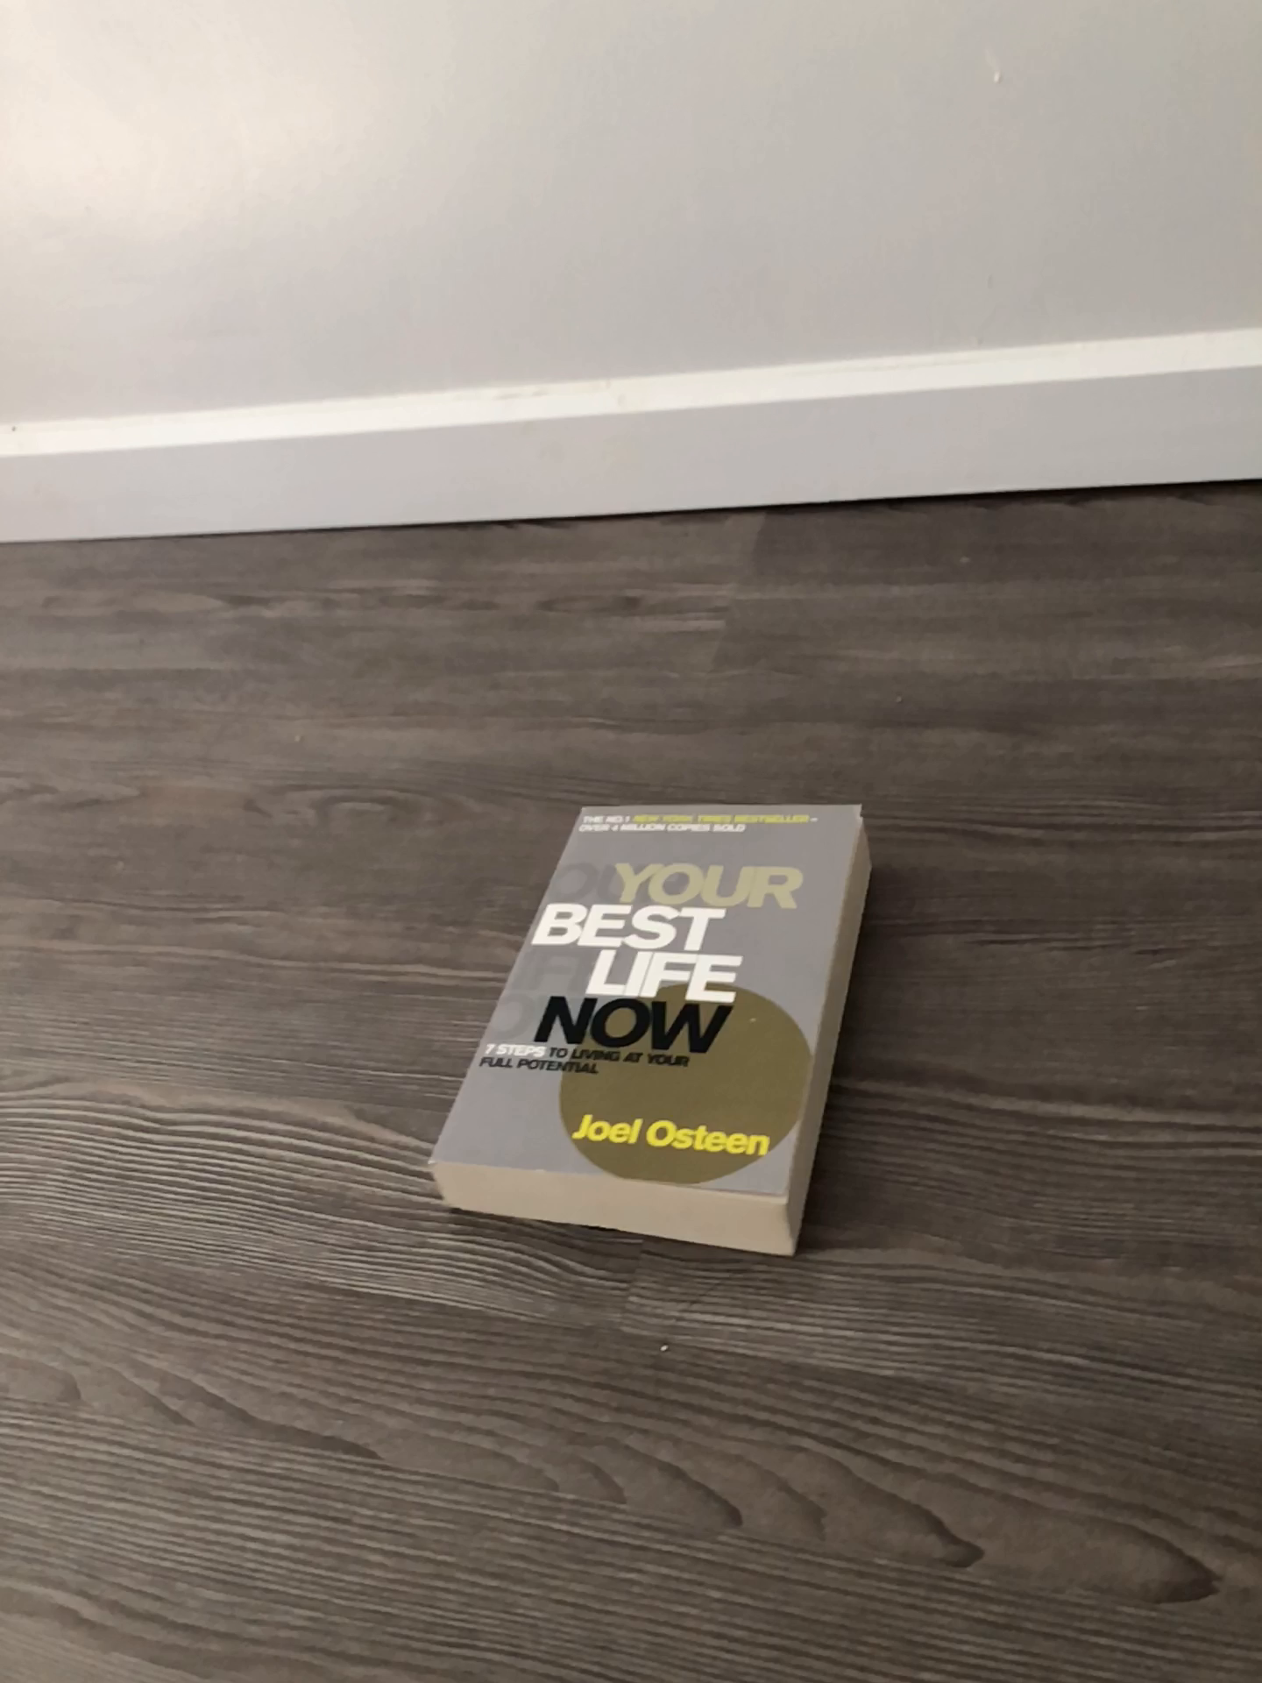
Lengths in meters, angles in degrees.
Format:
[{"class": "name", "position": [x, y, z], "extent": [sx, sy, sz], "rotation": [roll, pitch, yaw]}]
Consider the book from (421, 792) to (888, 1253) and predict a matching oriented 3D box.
[{"class": "book", "position": [0.020, 0.058, 0.549], "extent": [0.136, 0.030, 0.202], "rotation": [3, 41, 18]}]
